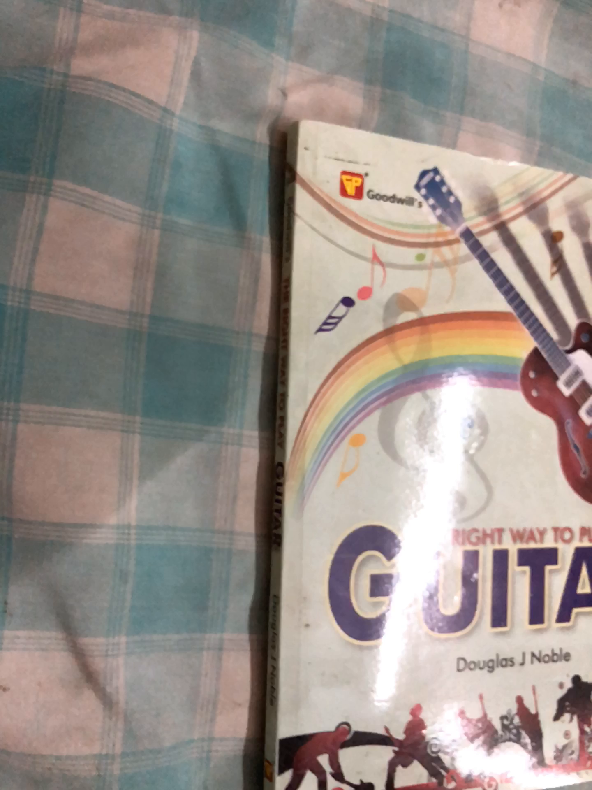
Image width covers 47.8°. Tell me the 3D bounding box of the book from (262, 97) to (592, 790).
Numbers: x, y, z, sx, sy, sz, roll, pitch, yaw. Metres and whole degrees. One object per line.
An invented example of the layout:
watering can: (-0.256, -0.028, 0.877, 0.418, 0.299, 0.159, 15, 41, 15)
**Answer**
book: (0.082, 0.029, 0.250, 0.180, 0.030, 0.240, 3, 85, -19)
